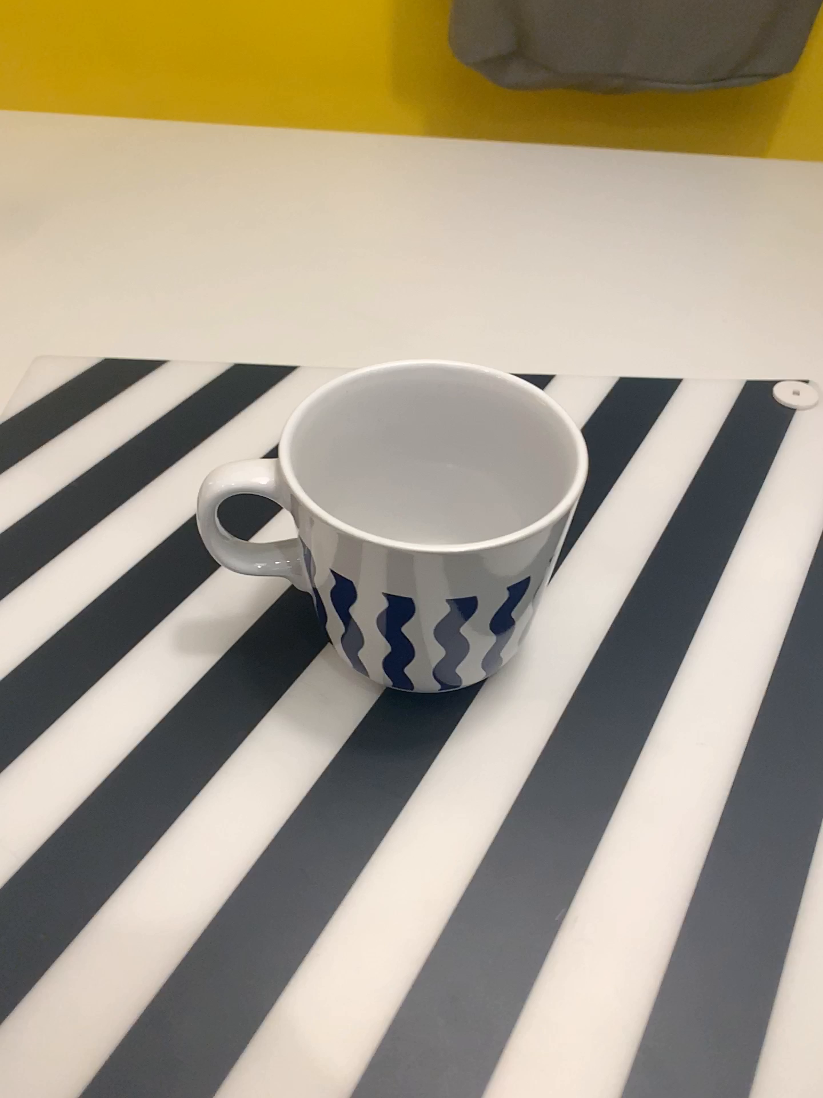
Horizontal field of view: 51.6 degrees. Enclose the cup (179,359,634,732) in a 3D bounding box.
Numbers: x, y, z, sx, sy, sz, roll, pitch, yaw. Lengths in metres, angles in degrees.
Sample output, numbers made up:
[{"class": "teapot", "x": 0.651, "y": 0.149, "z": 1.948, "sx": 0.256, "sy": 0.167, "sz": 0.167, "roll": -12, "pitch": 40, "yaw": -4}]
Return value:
[{"class": "cup", "x": -0.004, "y": -0.003, "z": 0.262, "sx": 0.110, "sy": 0.070, "sz": 0.090, "roll": 0, "pitch": 45, "yaw": -4}]
